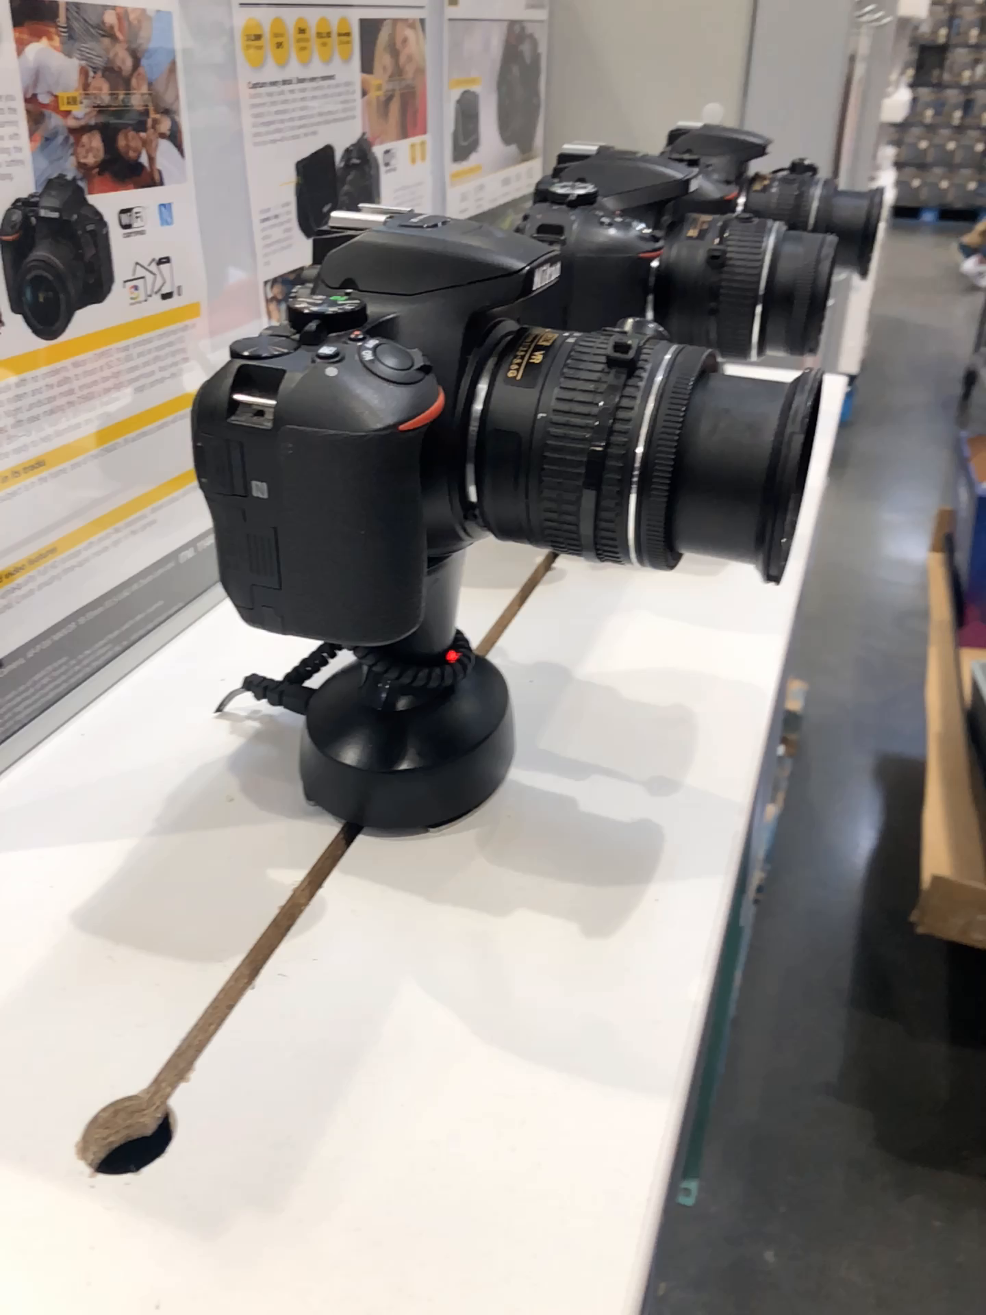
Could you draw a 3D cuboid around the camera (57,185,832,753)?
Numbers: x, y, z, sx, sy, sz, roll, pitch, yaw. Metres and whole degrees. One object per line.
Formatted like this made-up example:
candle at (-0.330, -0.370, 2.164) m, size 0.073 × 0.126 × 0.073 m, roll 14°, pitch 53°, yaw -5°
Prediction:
camera at (-0.002, -0.069, 0.308) m, size 0.160 × 0.099 × 0.141 m, roll 12°, pitch 31°, yaw 18°
